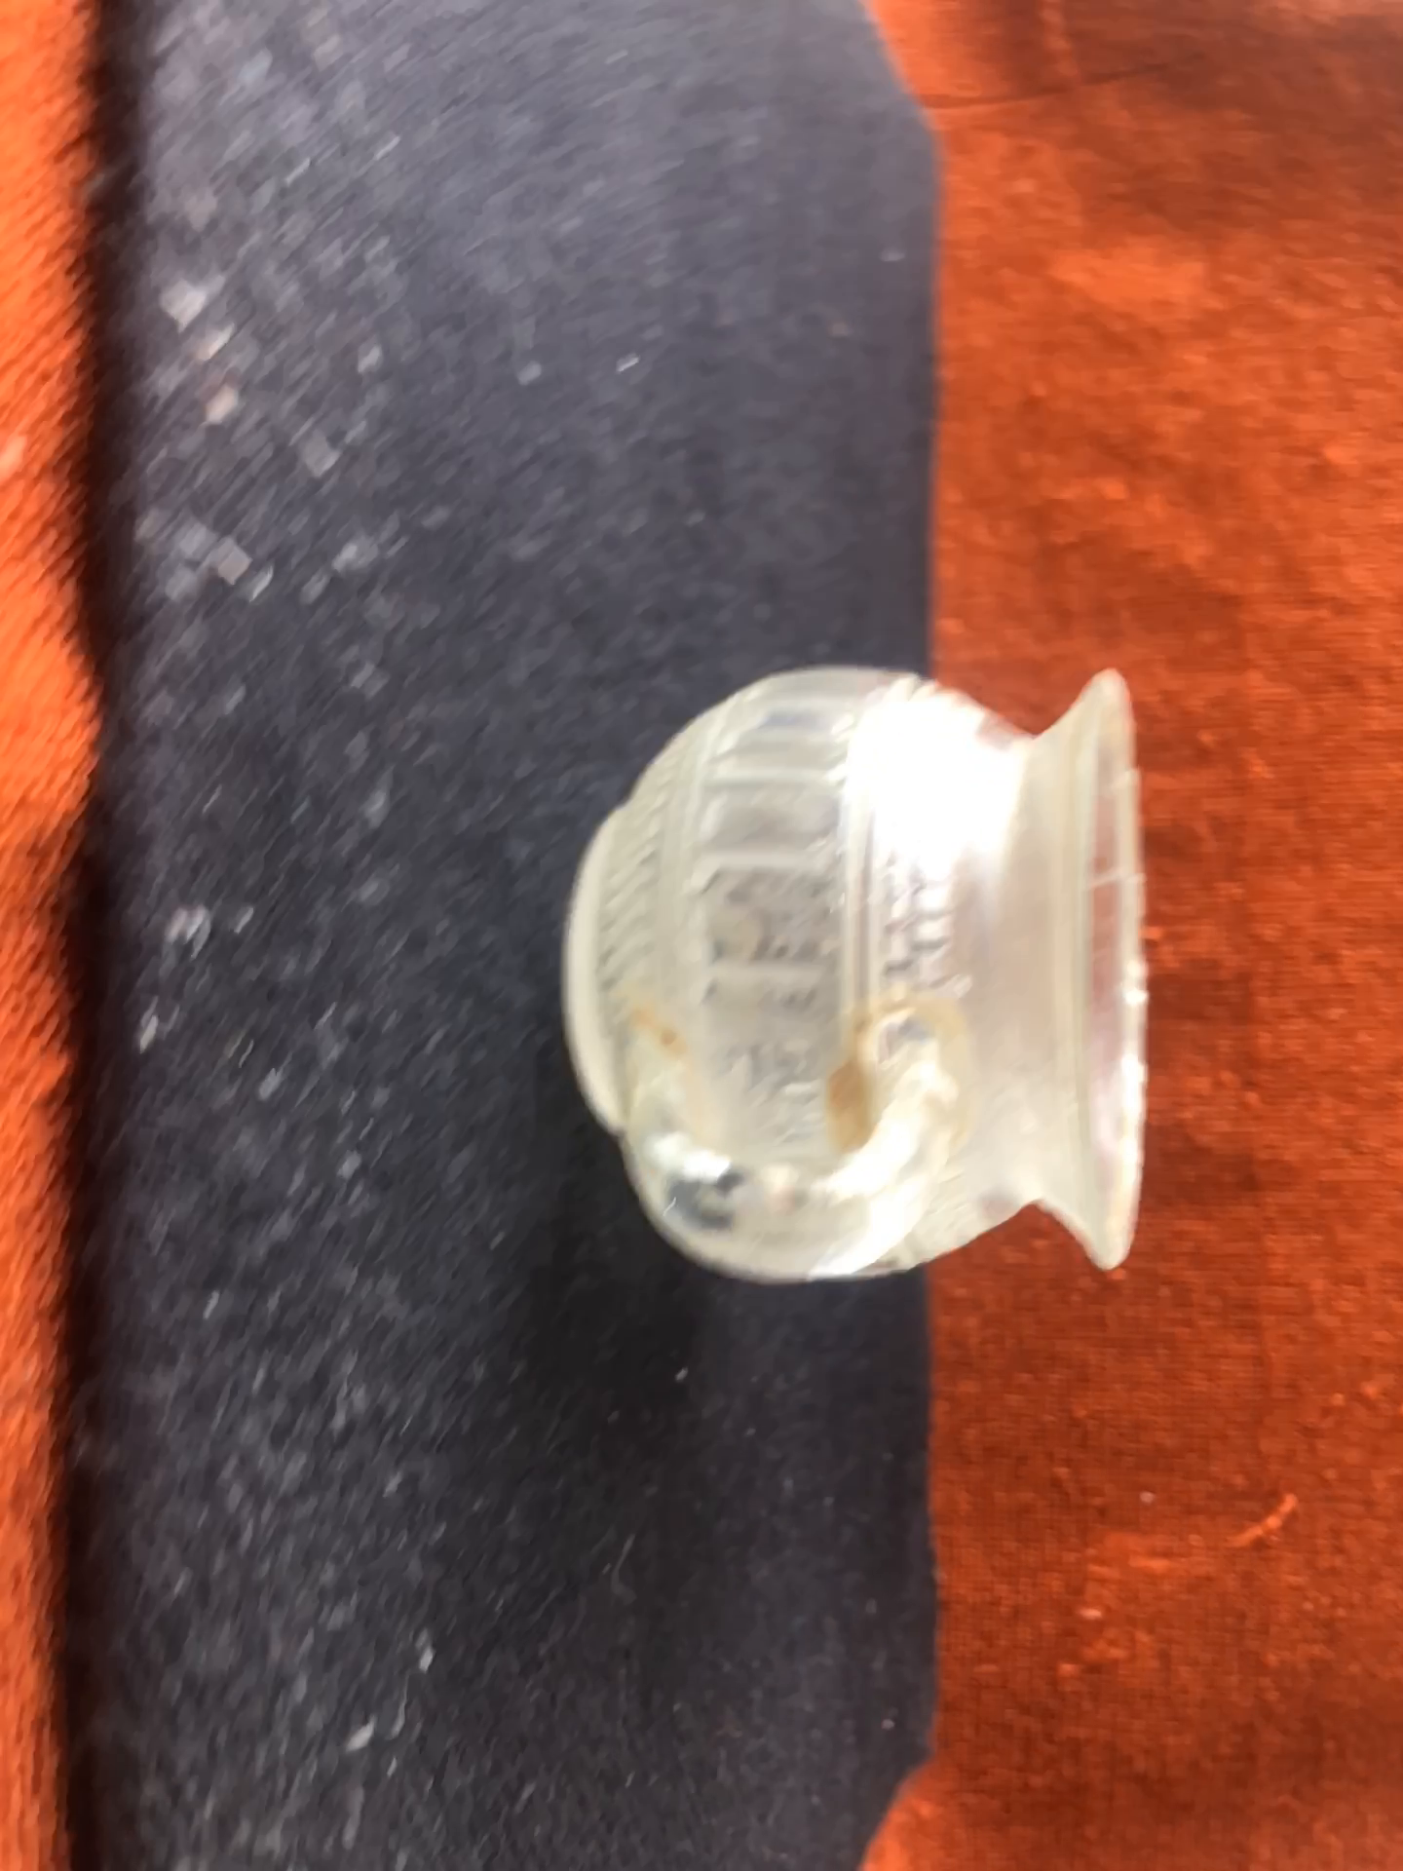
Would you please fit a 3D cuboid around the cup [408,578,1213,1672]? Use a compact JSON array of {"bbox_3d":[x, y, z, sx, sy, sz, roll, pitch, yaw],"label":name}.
[{"bbox_3d":[0.023,0.017,0.176,0.090,0.060,0.070,-70,152,-45],"label":"cup"}]
